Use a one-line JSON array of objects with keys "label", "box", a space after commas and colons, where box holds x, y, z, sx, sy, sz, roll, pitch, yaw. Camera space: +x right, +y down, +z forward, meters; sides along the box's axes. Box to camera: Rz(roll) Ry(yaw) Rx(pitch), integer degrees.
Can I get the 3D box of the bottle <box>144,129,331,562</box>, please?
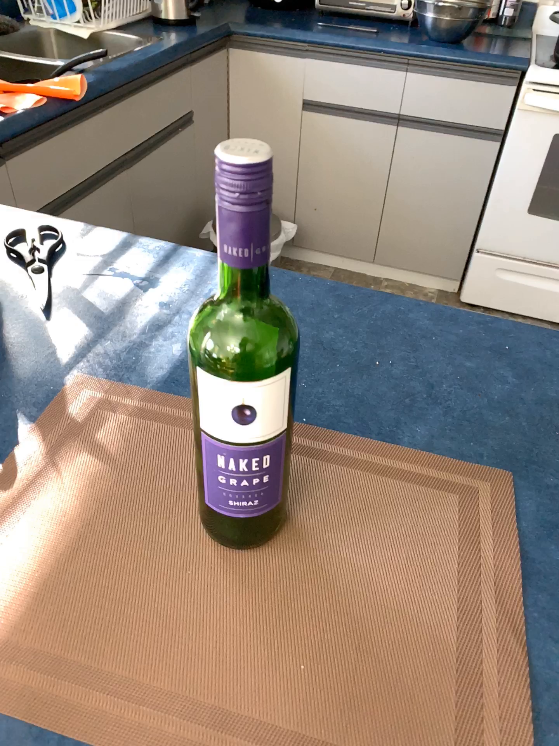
[{"label": "bottle", "box": [-0.027, 0.006, 0.370, 0.080, 0.287, 0.081, 2, 41, -2]}]
